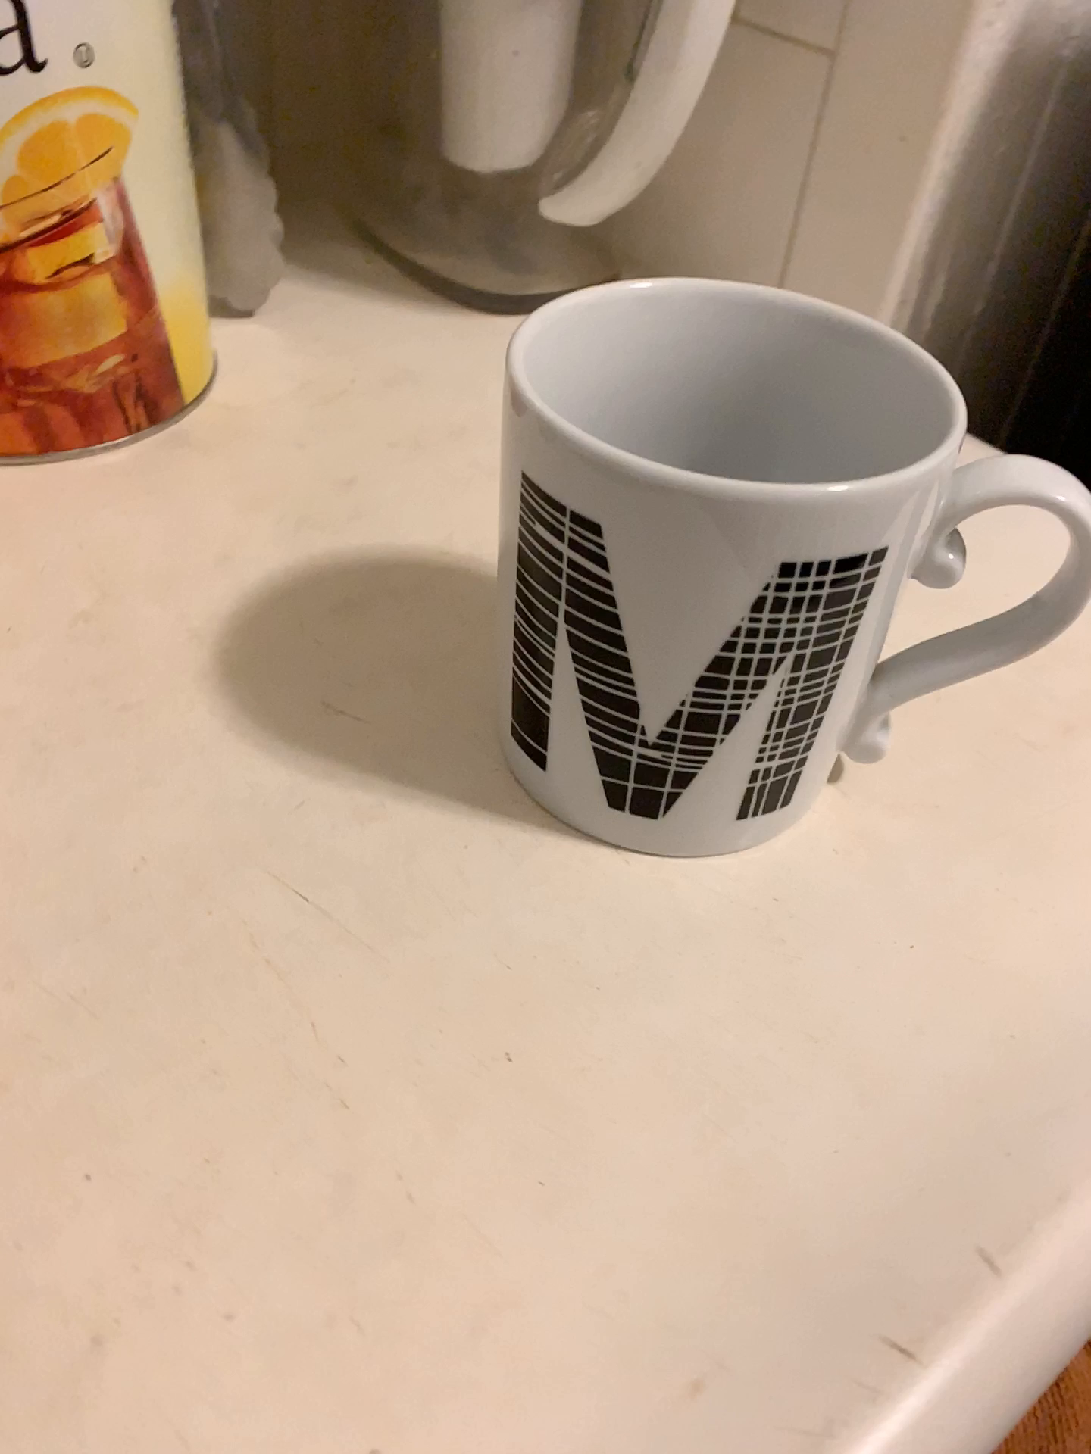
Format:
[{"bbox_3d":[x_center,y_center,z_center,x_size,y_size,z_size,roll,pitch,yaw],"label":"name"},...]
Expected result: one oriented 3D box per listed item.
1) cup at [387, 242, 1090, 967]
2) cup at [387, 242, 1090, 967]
[{"bbox_3d":[0.040,-0.030,0.262,0.130,0.109,0.101,10,42,3],"label":"cup"},{"bbox_3d":[0.040,-0.030,0.262,0.130,0.109,0.101,10,42,3],"label":"cup"}]
